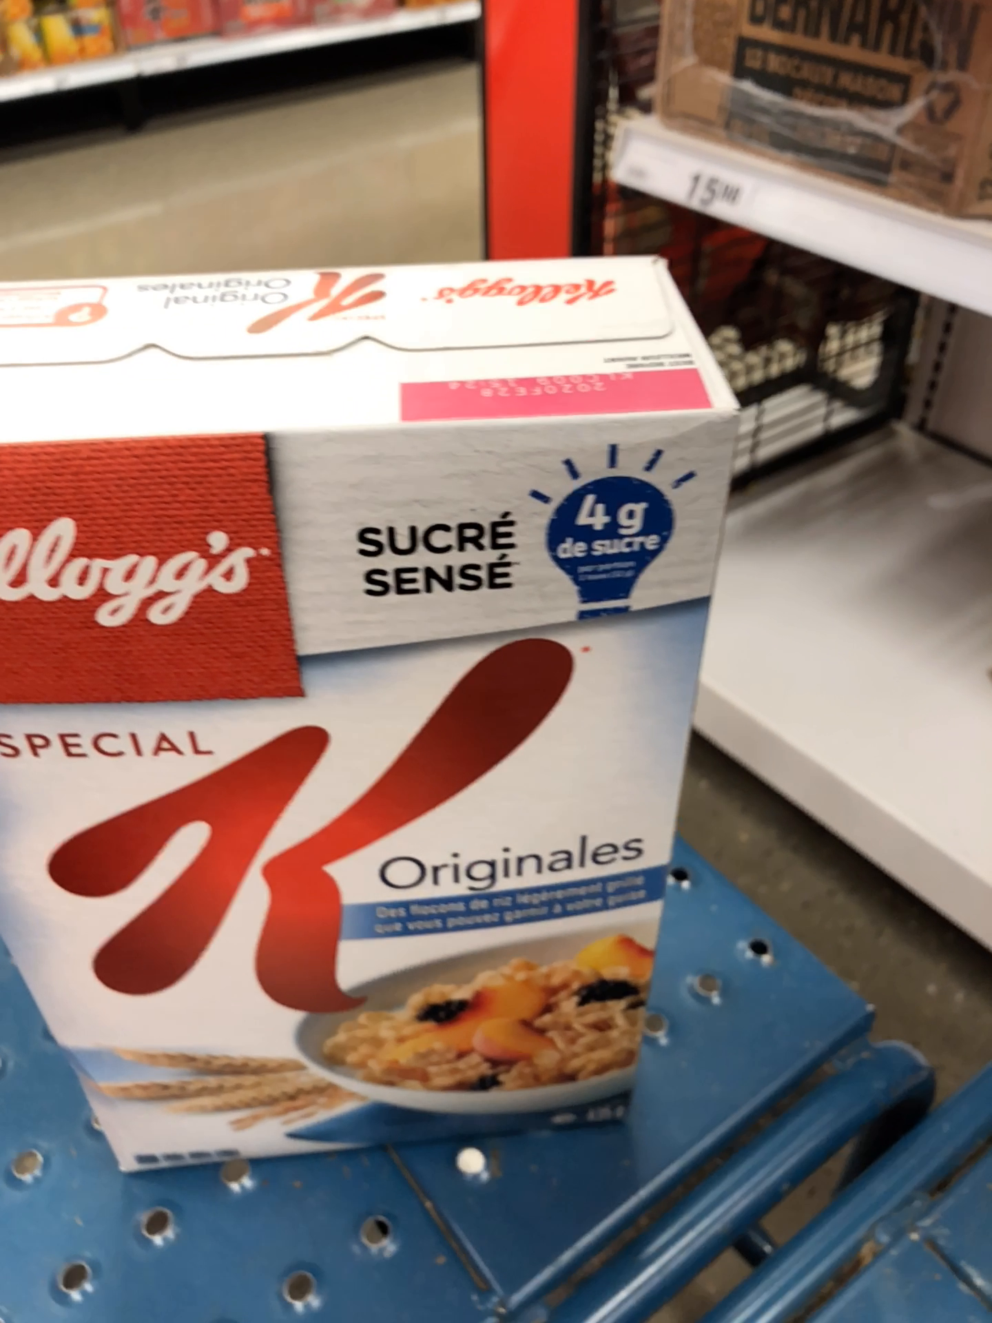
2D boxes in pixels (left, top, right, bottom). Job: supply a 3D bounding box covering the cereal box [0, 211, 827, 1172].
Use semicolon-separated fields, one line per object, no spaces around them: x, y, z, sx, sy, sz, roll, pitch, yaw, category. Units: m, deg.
-0.042;0.034;0.338;0.210;0.299;0.080;-4;40;-4;cereal box
